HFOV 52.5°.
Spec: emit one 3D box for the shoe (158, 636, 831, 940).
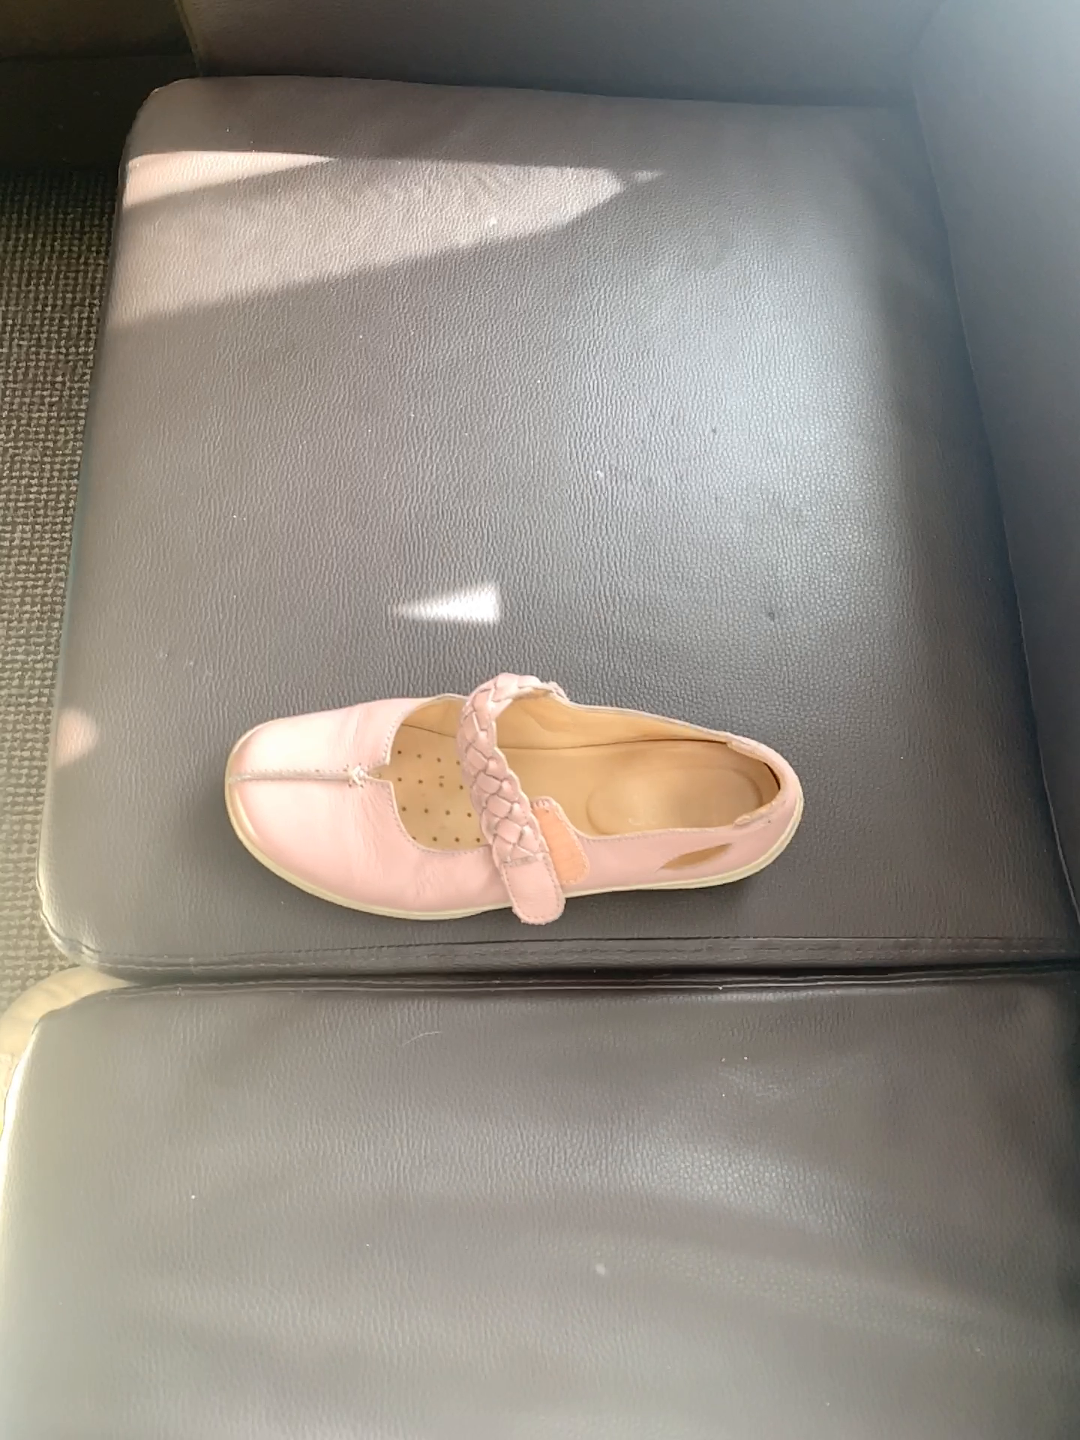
[{"bbox_3d":[-0.016,0.034,0.486,0.260,0.100,0.104,2,73,1],"label":"shoe"}]
